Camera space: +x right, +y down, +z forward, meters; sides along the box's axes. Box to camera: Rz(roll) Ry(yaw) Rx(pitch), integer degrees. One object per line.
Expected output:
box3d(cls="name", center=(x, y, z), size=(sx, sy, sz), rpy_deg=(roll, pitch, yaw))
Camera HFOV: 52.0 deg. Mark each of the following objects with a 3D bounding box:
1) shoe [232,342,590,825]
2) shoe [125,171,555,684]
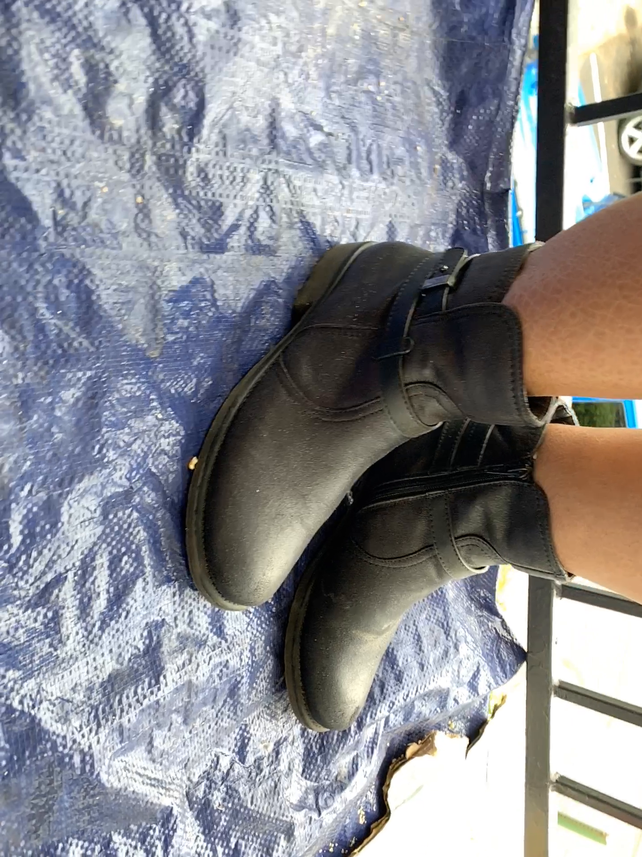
box3d(cls="shoe", center=(0.075, 0.087, 0.446), size=(0.111, 0.109, 0.280), rpy_deg=(46, 62, -42))
box3d(cls="shoe", center=(0.026, -0.014, 0.409), size=(0.101, 0.129, 0.280), rpy_deg=(49, 60, -41))
